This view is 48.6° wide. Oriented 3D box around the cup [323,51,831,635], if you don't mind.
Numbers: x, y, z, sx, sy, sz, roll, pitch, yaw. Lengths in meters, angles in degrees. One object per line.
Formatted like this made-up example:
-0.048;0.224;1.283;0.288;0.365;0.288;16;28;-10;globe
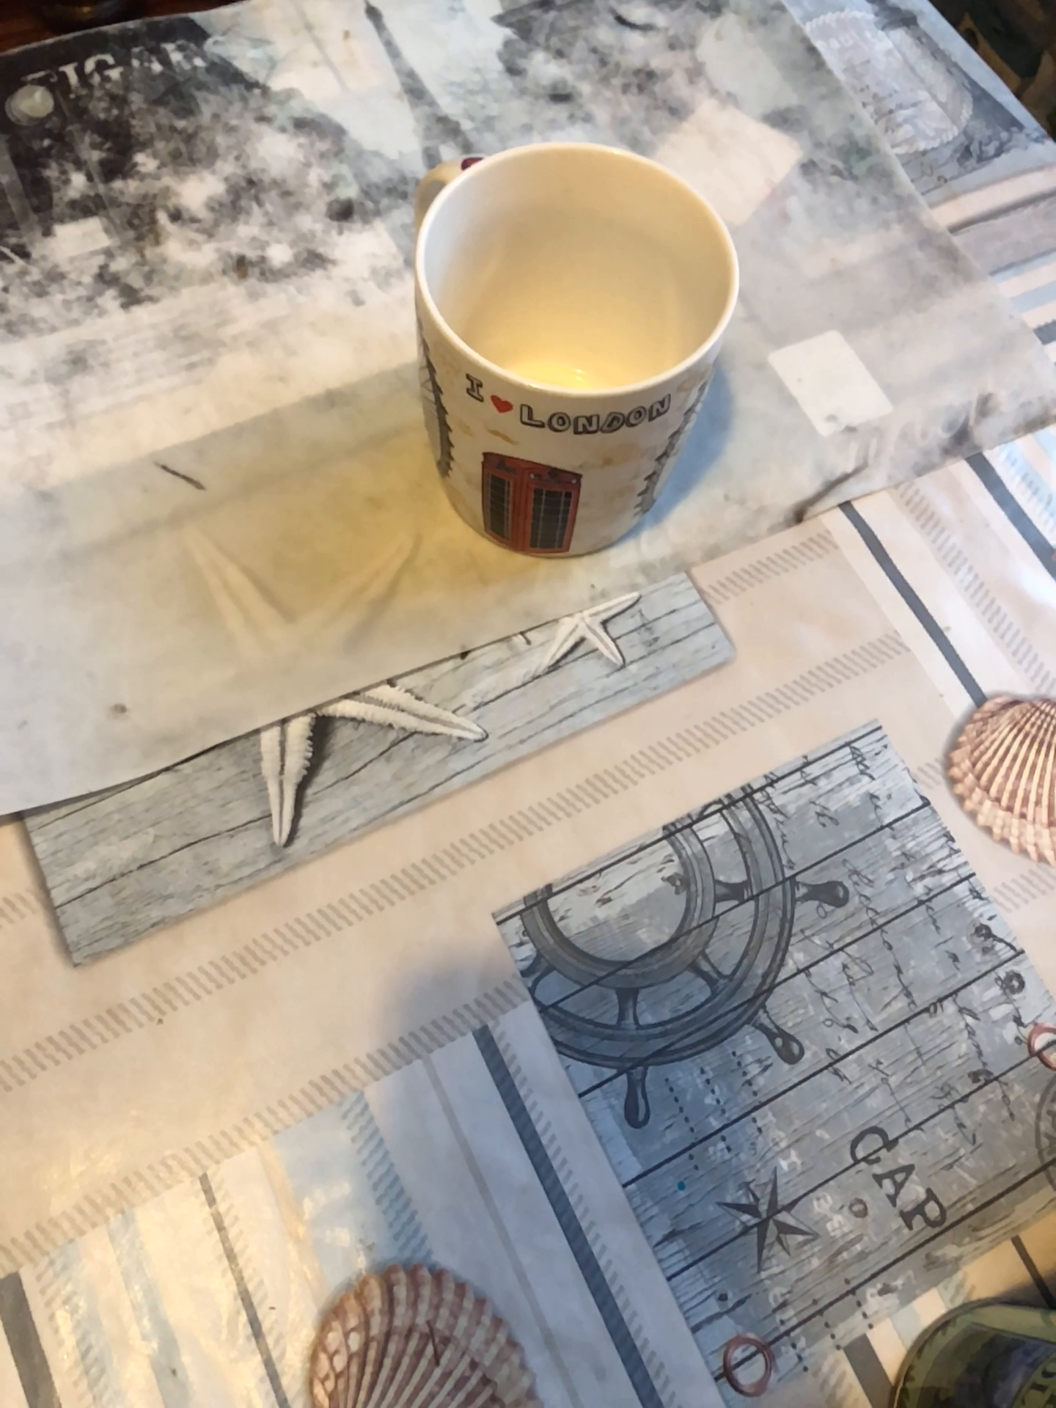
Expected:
0.006;-0.105;0.345;0.084;0.086;0.121;-26;71;-19;cup
